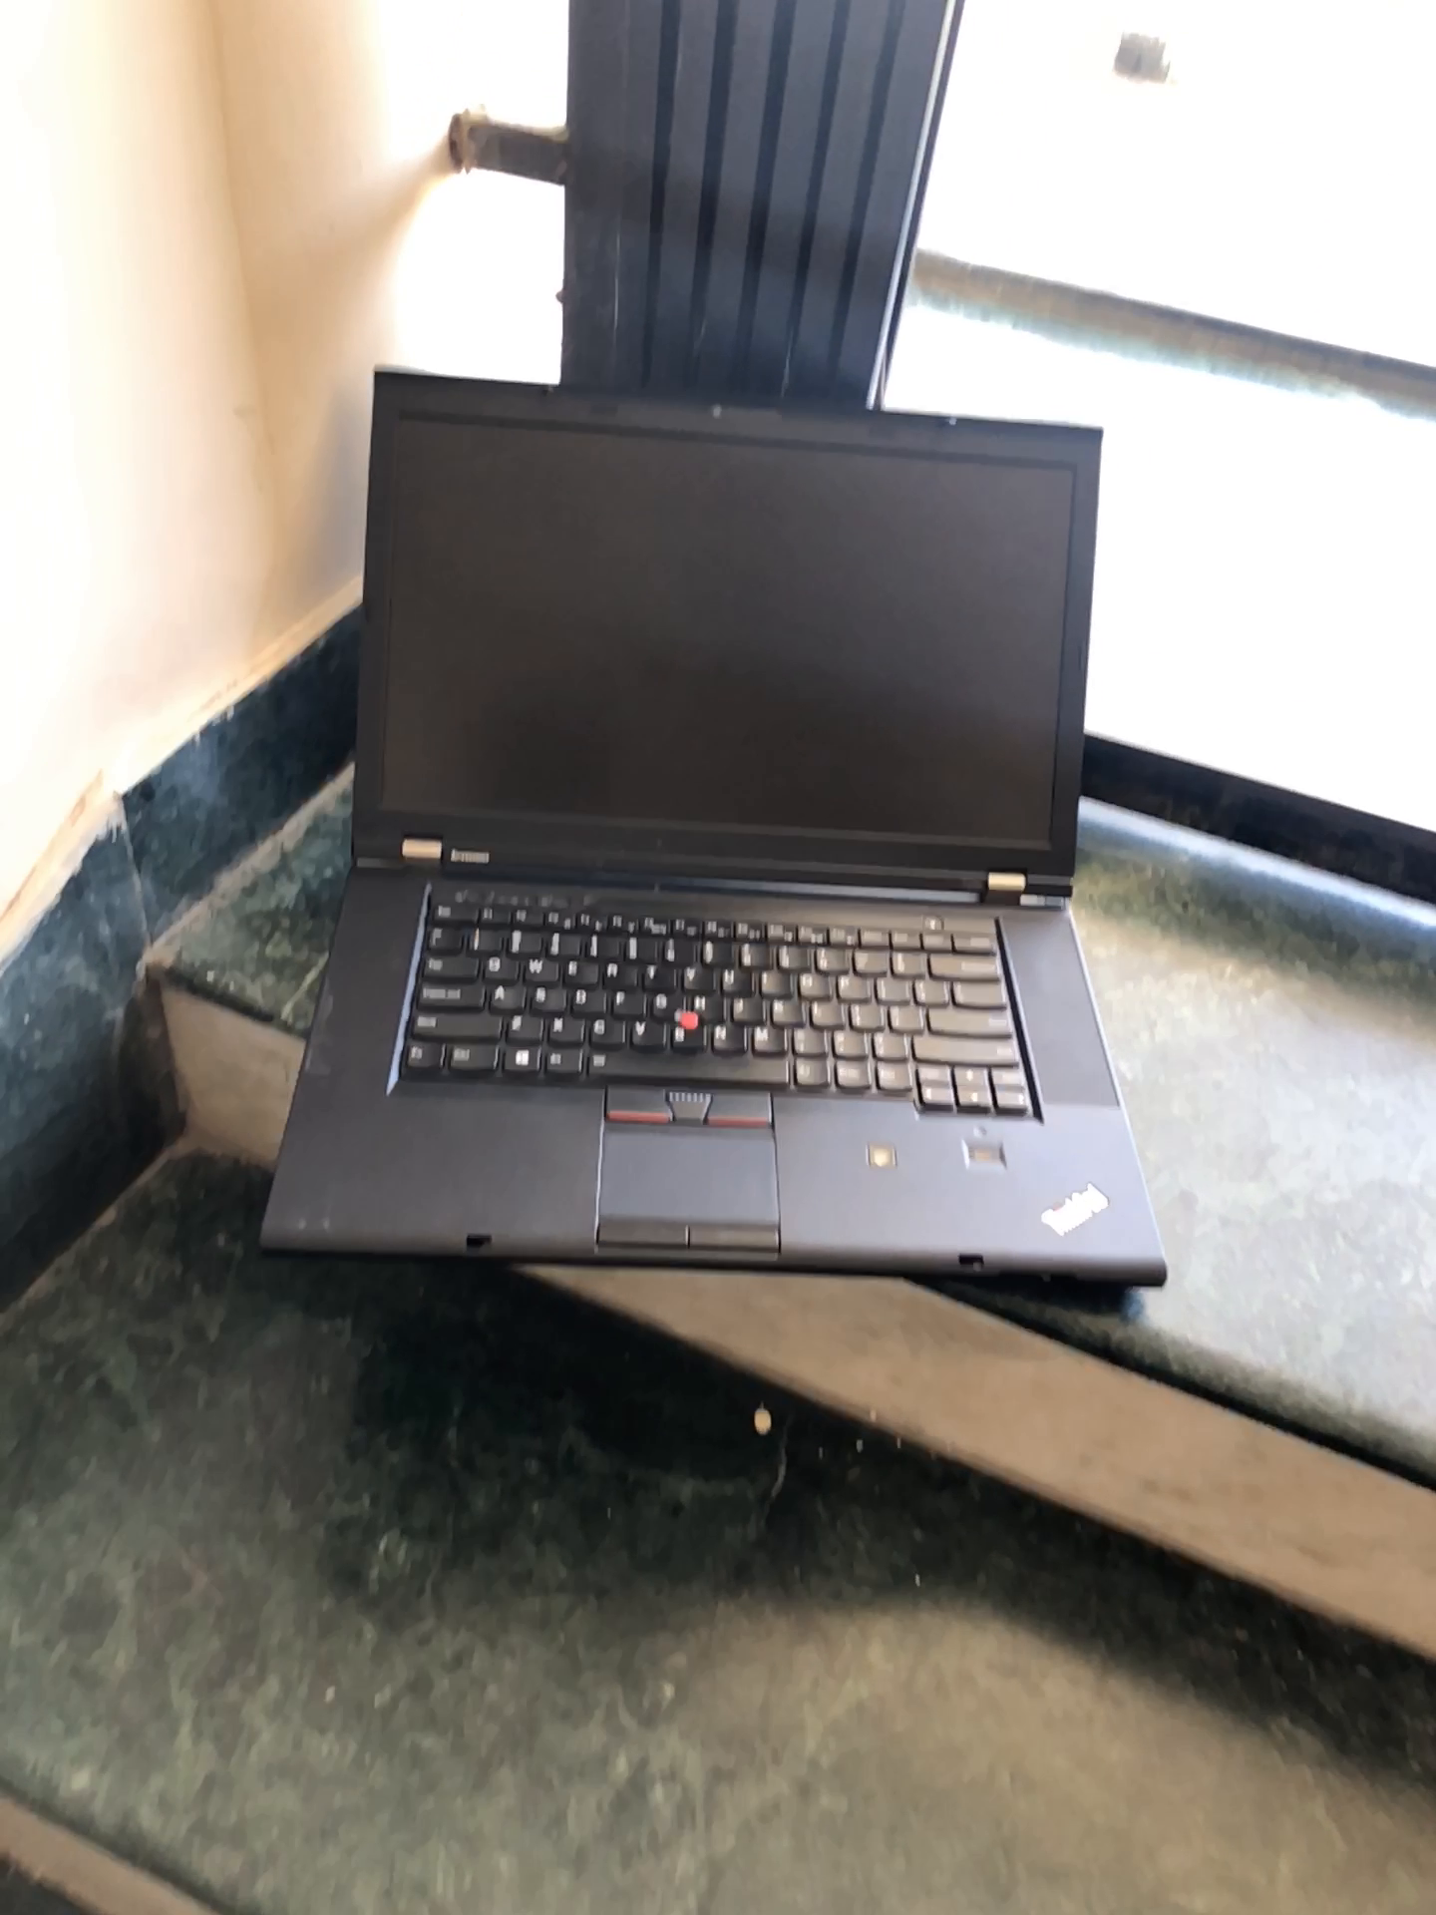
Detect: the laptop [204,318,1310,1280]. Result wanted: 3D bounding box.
[{"bbox_3d":[0.007,-0.090,0.699,0.359,0.181,0.389,3,45,-4],"label":"laptop"}]
